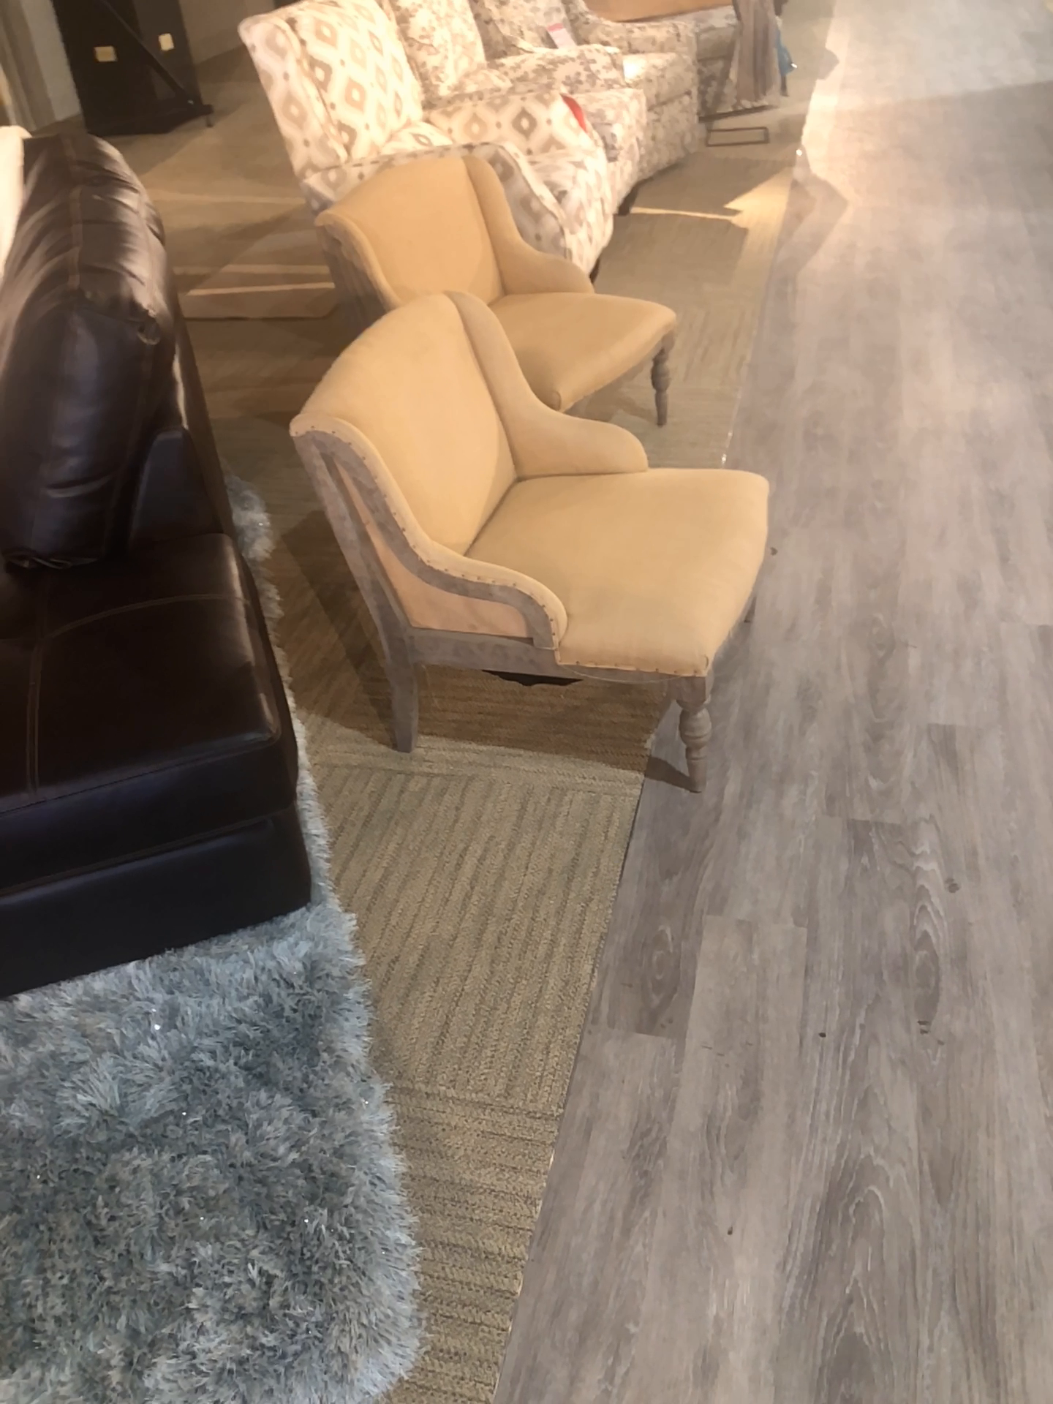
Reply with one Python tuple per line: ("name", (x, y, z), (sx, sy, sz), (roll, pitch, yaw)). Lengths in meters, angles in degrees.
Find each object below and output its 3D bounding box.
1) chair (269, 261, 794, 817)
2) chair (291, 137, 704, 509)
("chair", (0.071, -0.312, 1.996), (0.669, 0.685, 0.639), (6, 38, 16))
("chair", (-0.030, -0.949, 2.800), (0.719, 0.625, 0.629), (16, 42, 26))
